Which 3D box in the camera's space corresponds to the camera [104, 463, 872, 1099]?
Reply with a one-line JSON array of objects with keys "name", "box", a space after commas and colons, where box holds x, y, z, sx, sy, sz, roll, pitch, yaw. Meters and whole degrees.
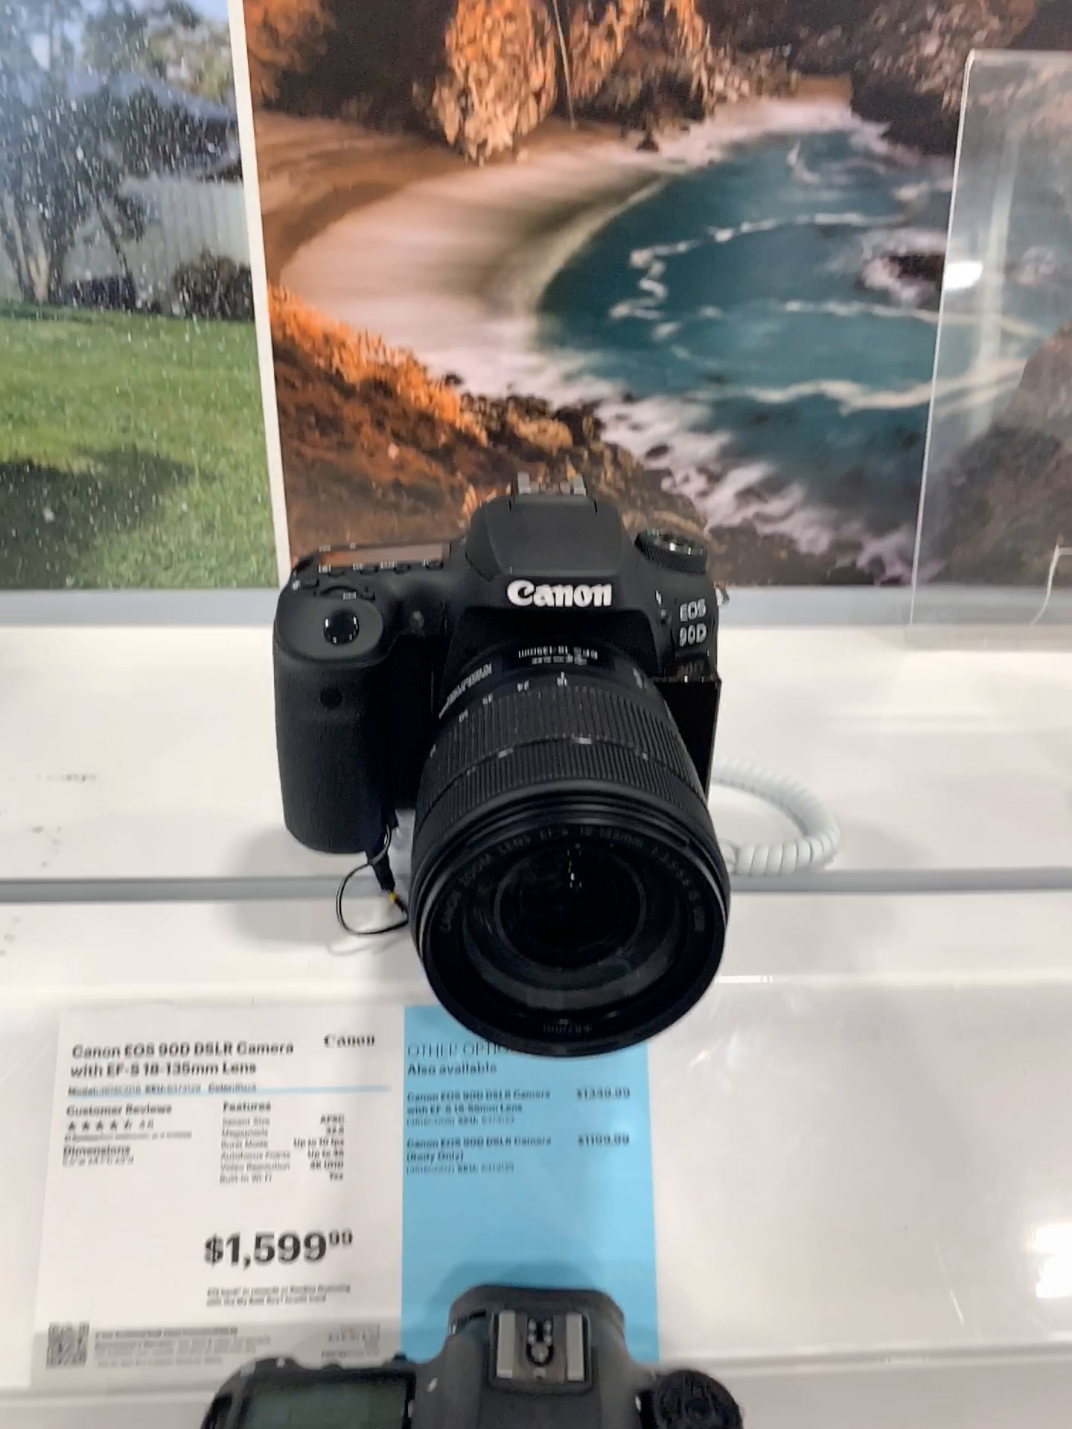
[{"name": "camera", "box": [-0.013, 0.003, 0.312, 0.148, 0.104, 0.171, -1, 27, -3]}]
